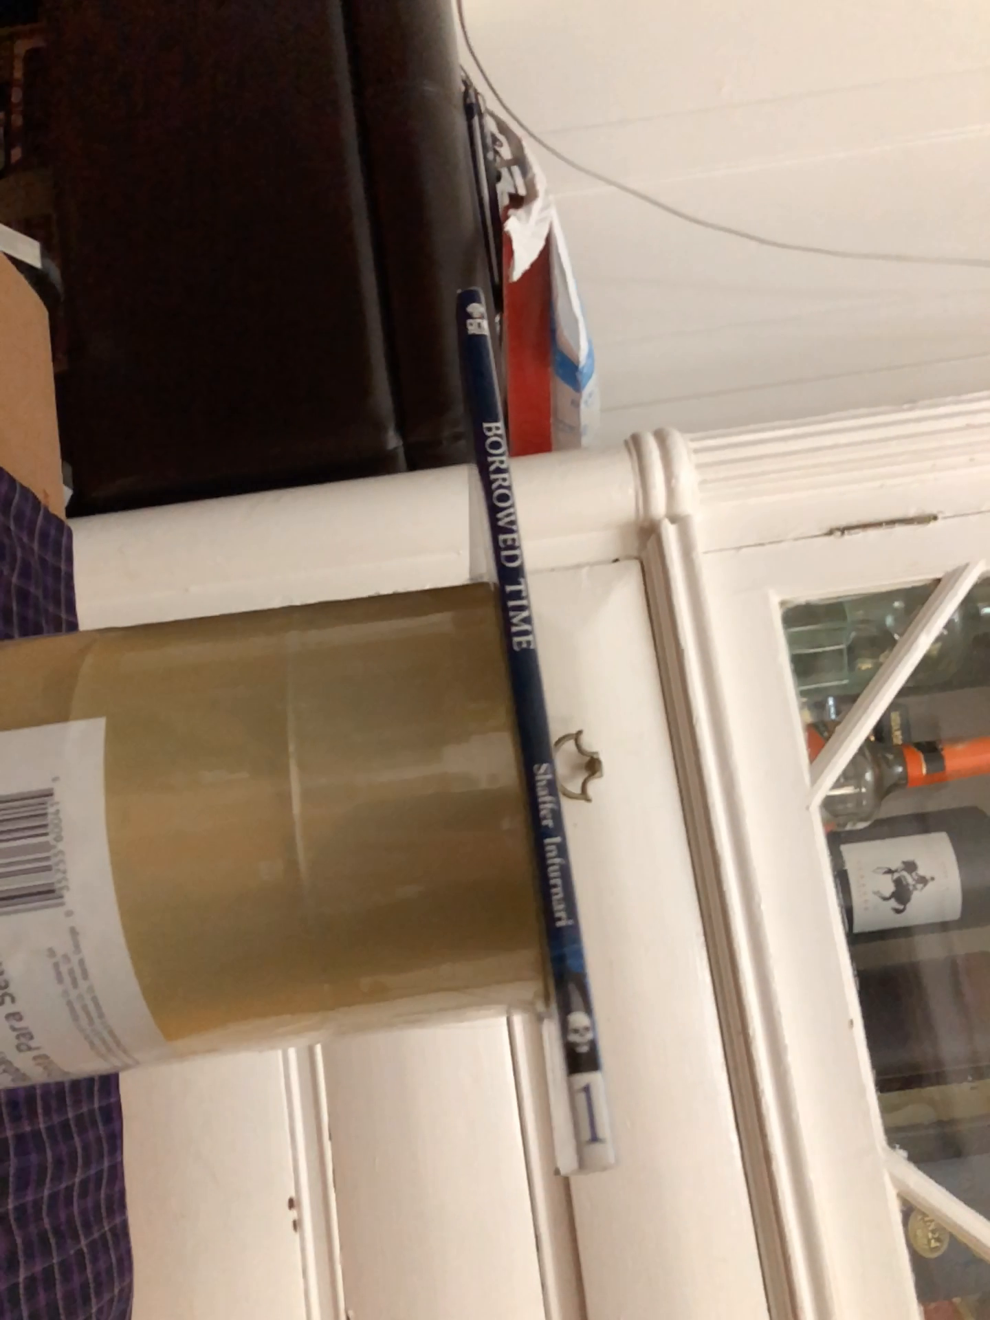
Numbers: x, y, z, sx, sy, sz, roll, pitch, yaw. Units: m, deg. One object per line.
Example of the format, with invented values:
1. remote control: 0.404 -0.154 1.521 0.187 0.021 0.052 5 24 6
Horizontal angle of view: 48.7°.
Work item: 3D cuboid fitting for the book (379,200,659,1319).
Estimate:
1. book: 0.002 0.033 0.268 0.160 0.010 0.230 83 -3 -63
